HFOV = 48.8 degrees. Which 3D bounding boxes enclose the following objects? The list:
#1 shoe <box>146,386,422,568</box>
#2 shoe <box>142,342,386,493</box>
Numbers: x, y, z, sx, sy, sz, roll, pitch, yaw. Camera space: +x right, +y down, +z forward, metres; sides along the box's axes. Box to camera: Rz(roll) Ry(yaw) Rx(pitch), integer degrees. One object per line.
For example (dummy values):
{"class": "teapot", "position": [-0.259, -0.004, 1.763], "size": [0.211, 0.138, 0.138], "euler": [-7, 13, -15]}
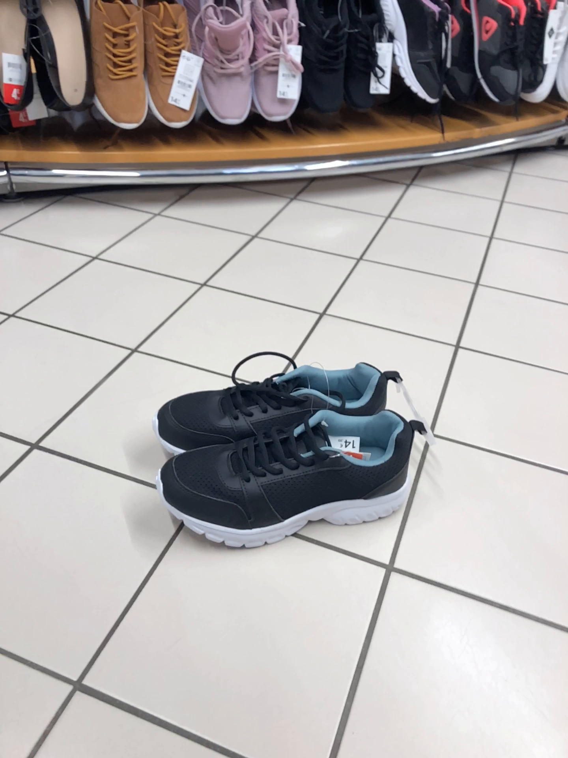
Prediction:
{"class": "shoe", "position": [-0.006, 0.091, 0.613], "size": [0.240, 0.109, 0.101], "euler": [-5, 38, -12]}
{"class": "shoe", "position": [-0.026, 0.037, 0.680], "size": [0.240, 0.099, 0.100], "euler": [-5, 34, -12]}
